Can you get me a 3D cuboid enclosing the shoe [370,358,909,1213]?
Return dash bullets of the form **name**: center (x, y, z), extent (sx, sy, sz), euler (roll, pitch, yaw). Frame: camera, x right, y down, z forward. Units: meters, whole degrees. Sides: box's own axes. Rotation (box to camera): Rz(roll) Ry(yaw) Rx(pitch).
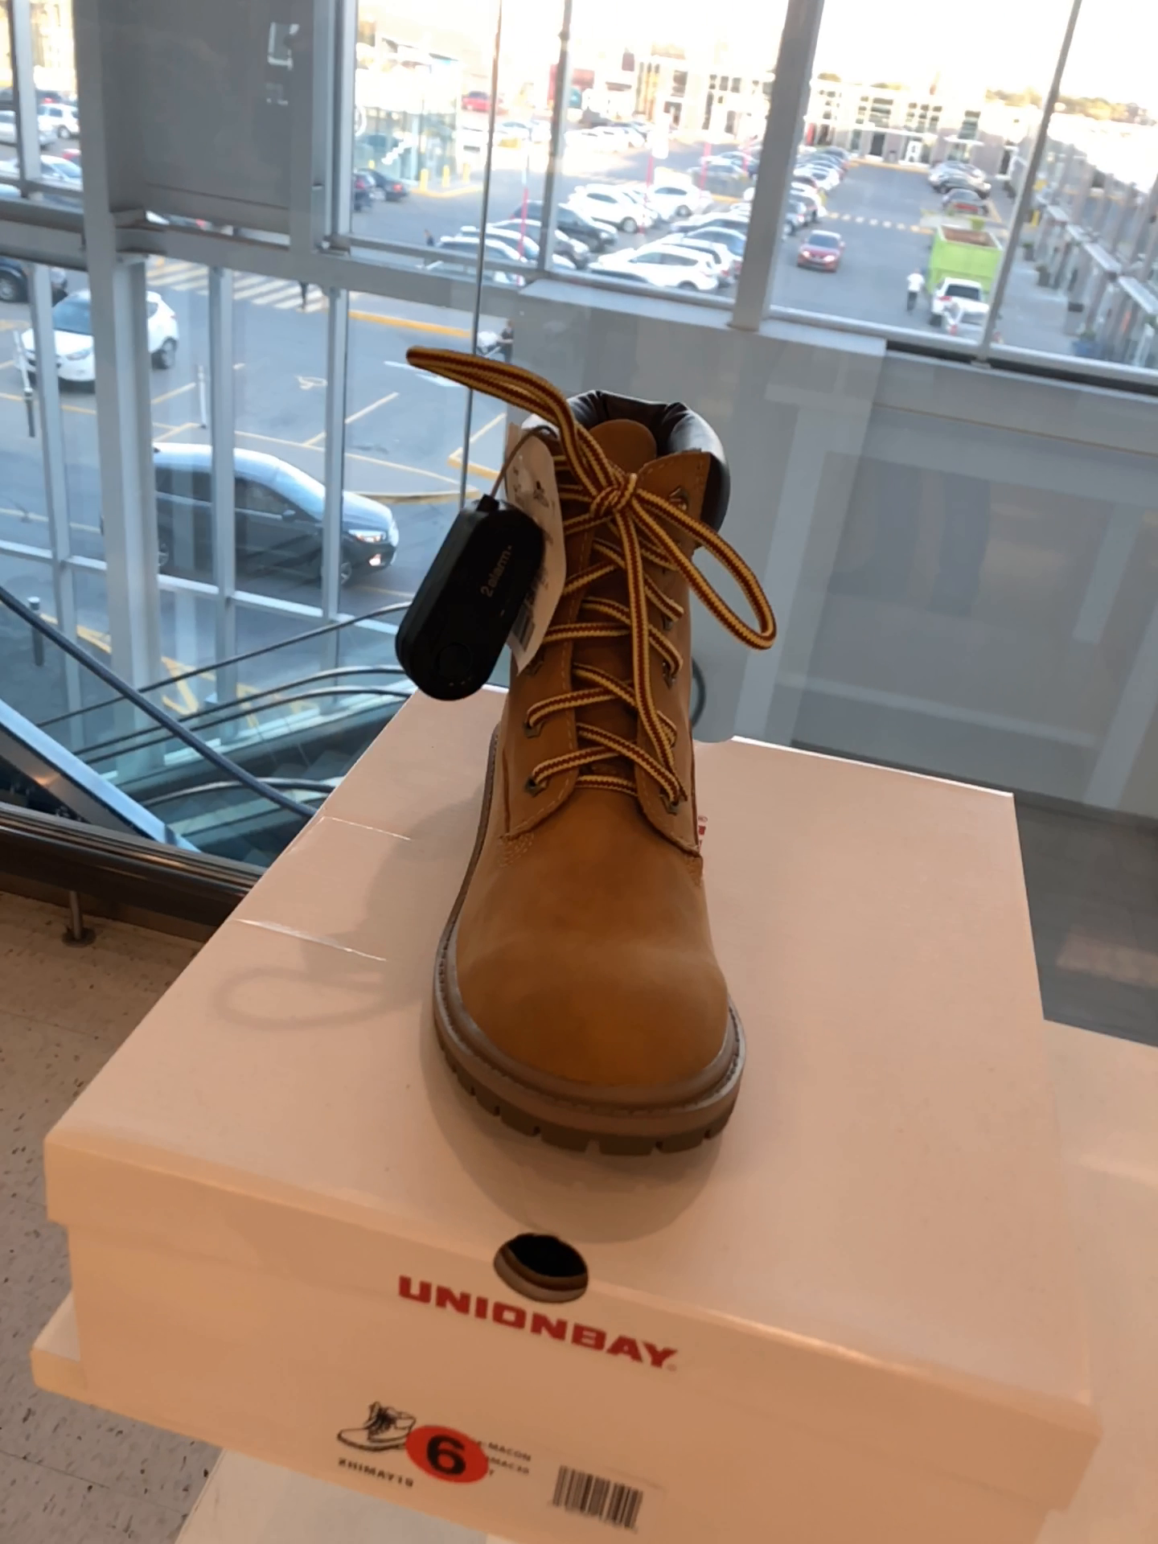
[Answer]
- **shoe**: center (0.004, -0.016, 0.413), extent (0.107, 0.169, 0.242), euler (6, 29, -5)
